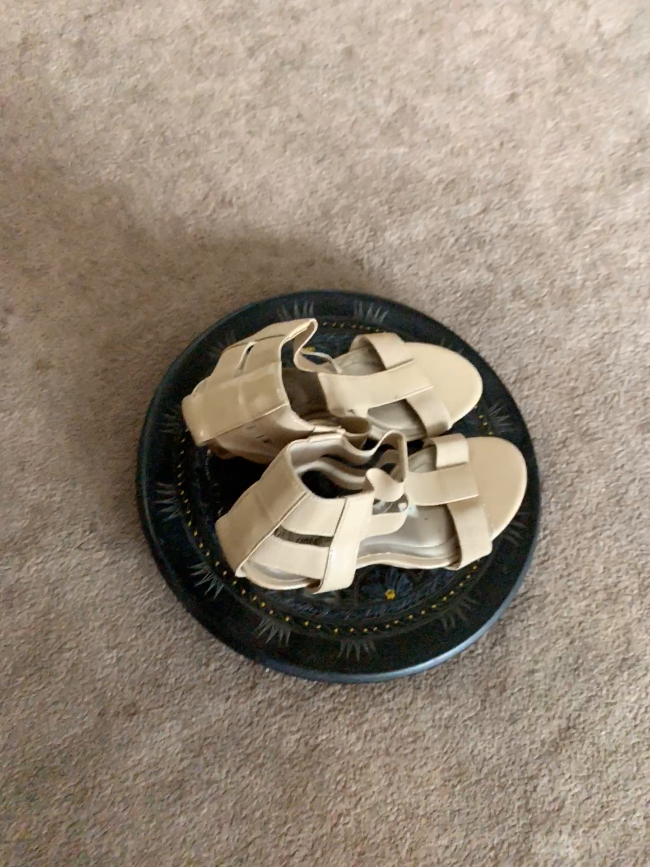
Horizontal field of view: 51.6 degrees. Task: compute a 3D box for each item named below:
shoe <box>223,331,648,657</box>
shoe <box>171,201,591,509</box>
[{"bbox_3d":[0.059,0.037,0.406,0.221,0.099,0.090,-23,73,-17],"label":"shoe"},{"bbox_3d":[0.029,-0.050,0.424,0.220,0.099,0.100,-19,72,-16],"label":"shoe"}]
